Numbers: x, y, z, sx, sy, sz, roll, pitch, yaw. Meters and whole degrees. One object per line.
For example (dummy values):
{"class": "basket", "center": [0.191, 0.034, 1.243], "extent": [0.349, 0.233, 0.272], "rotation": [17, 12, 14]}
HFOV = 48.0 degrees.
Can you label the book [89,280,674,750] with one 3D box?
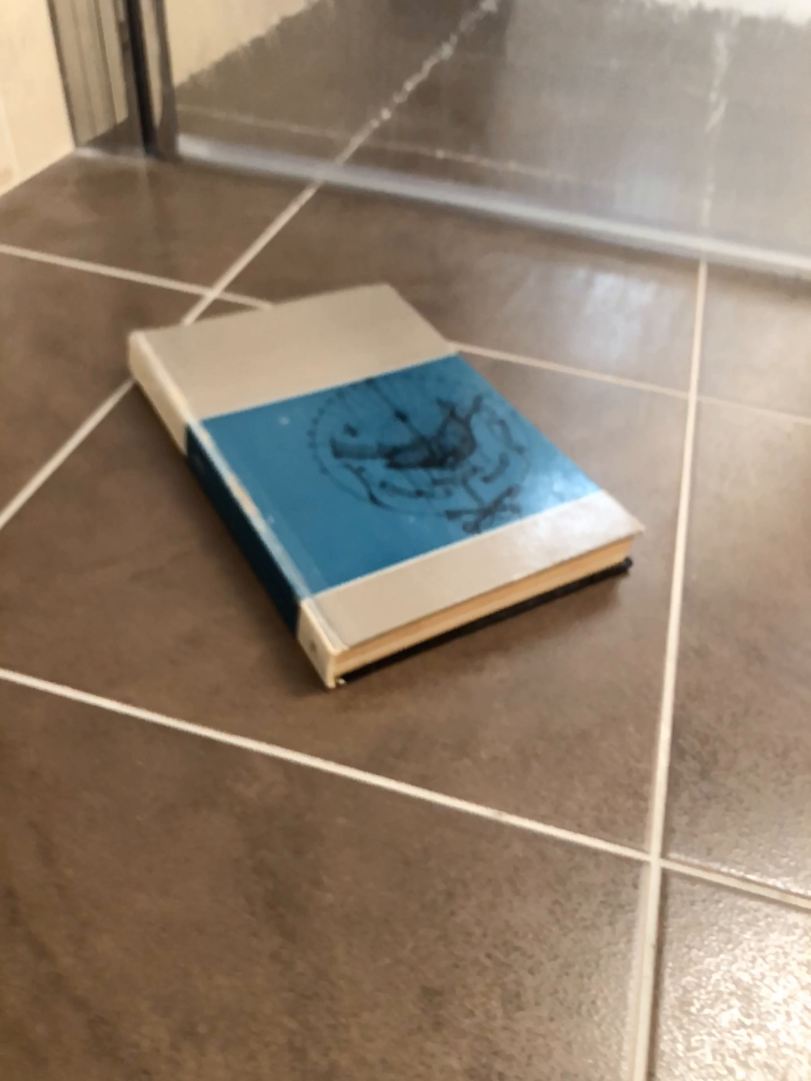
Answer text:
{"class": "book", "center": [-0.031, -0.046, 0.521], "extent": [0.211, 0.040, 0.301], "rotation": [-18, 48, -23]}
